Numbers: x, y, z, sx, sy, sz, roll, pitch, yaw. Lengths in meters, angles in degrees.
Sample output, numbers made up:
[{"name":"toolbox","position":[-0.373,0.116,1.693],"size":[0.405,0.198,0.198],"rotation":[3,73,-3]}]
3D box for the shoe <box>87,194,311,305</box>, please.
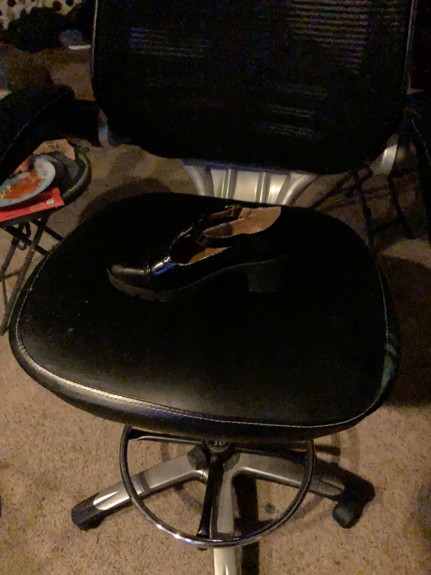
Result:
[{"name":"shoe","position":[-0.021,-0.053,0.651],"size":[0.270,0.100,0.110],"rotation":[-1,41,-1]}]
